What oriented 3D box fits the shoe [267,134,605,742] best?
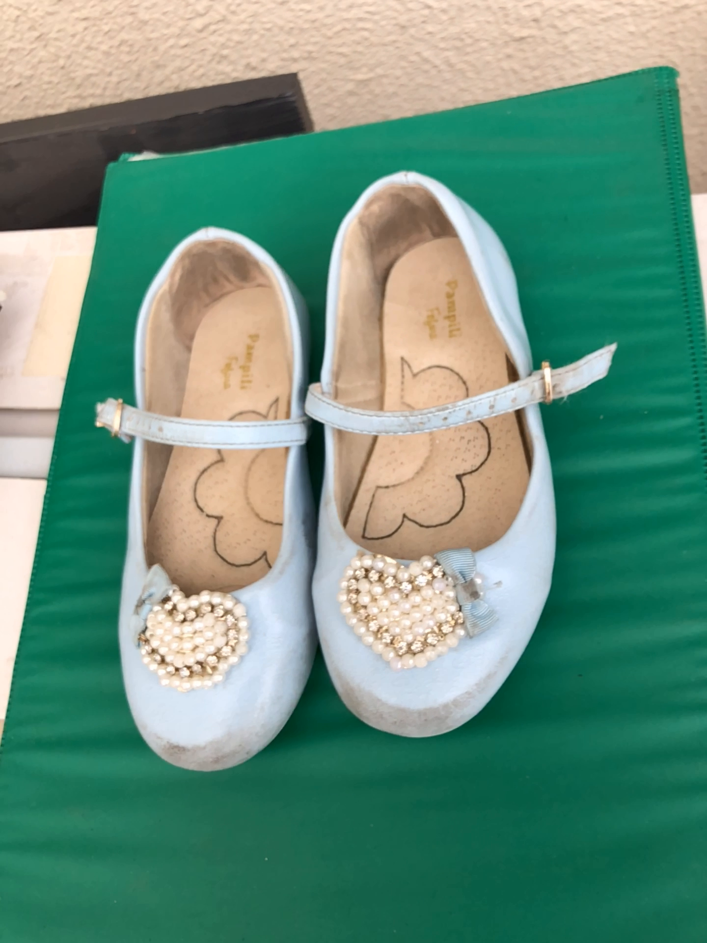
[{"bbox_3d":[0.024,-0.009,0.238,0.080,0.050,0.170,-3,70,12],"label":"shoe"}]

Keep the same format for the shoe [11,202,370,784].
[{"bbox_3d":[-0.043,0.006,0.253,0.086,0.050,0.170,-3,70,12],"label":"shoe"}]
